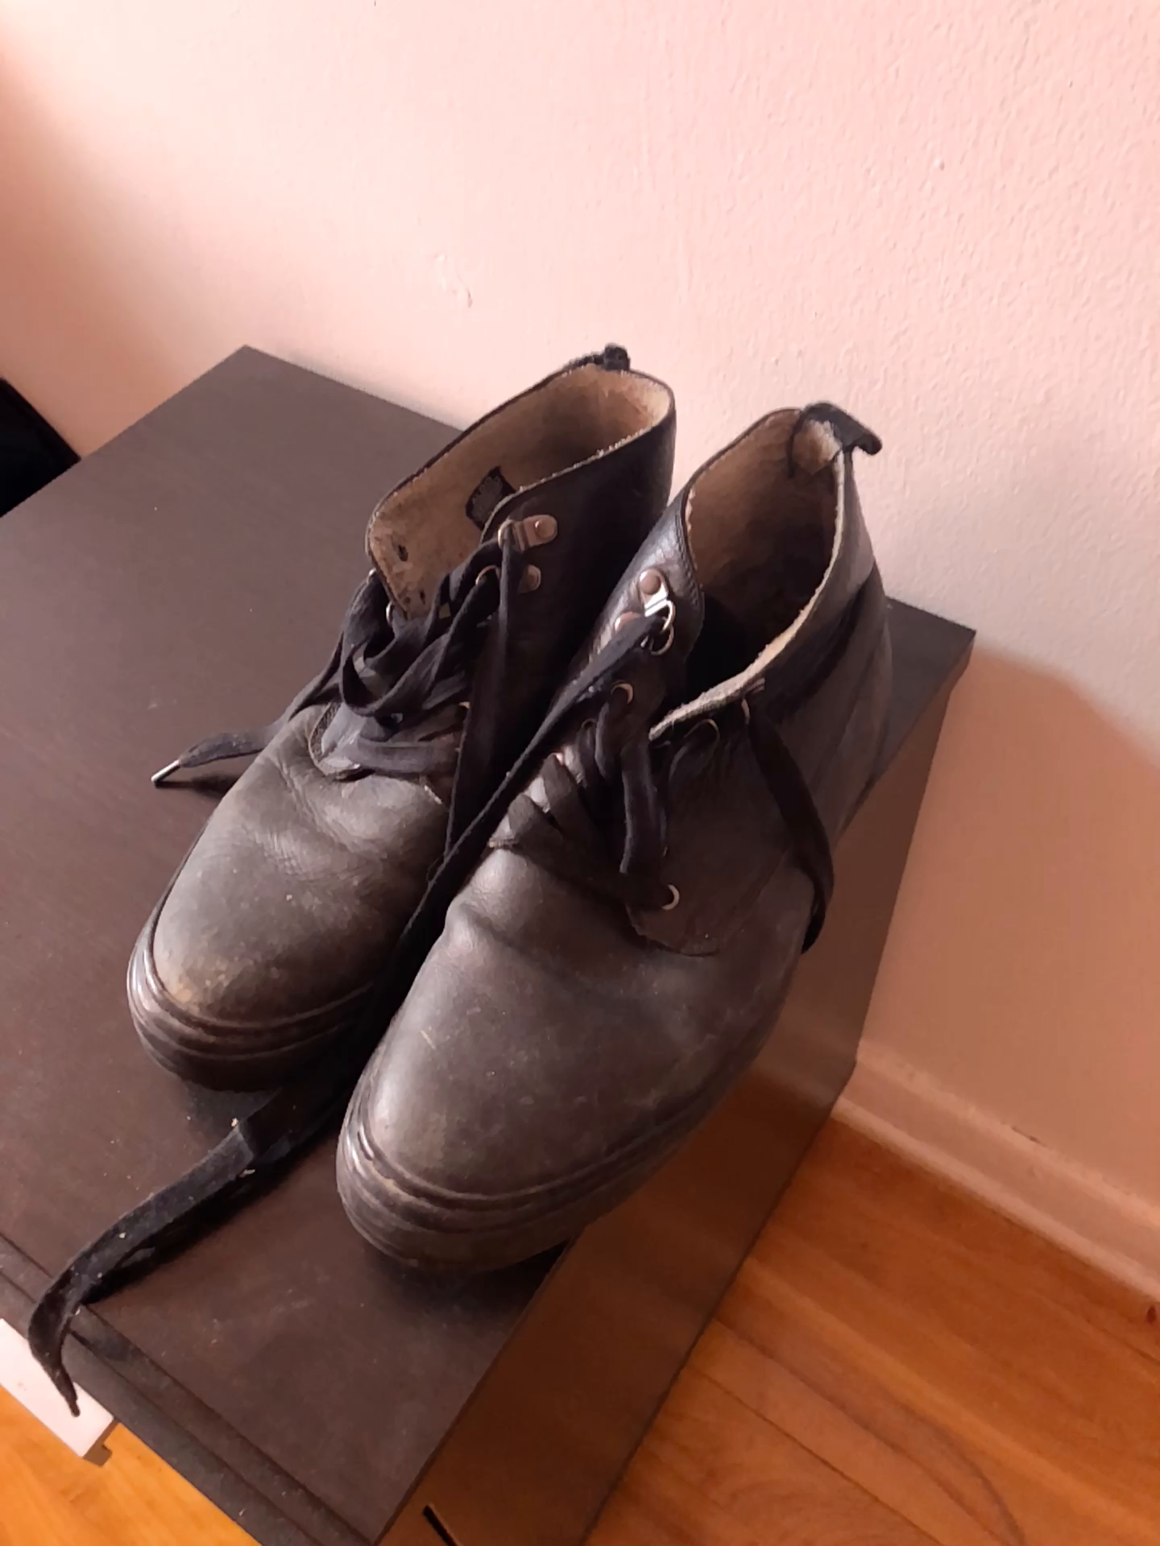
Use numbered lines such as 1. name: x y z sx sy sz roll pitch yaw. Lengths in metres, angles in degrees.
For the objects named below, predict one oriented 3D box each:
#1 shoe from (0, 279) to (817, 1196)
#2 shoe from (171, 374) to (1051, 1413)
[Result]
1. shoe: -0.053 -0.037 0.470 0.120 0.109 0.342 27 57 23
2. shoe: 0.036 0.013 0.441 0.120 0.109 0.342 24 56 21
